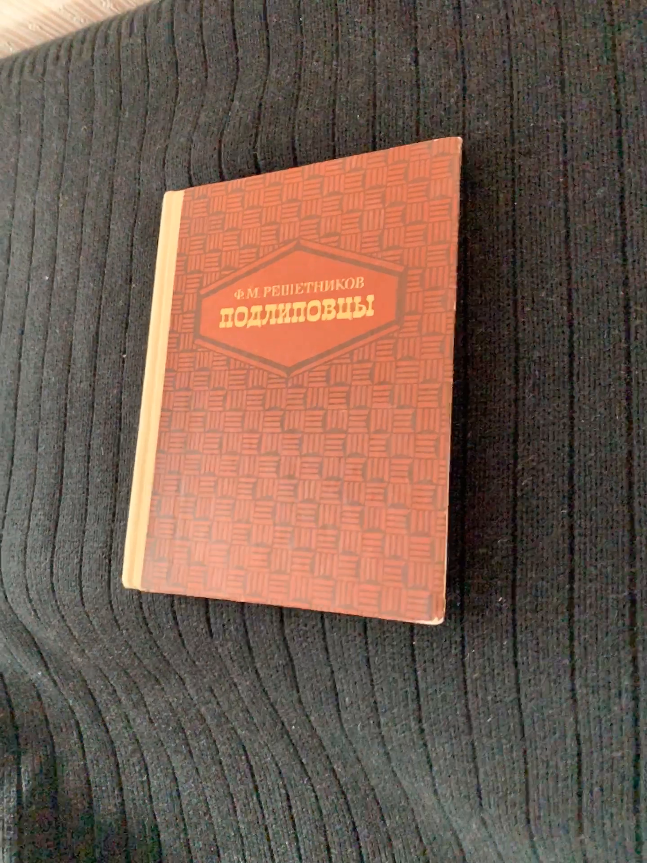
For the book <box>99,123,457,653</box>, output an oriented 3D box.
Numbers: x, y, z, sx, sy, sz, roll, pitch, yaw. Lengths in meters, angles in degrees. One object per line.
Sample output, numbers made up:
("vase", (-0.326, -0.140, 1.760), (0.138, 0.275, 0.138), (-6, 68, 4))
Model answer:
("book", (-0.018, -0.018, 0.250), (0.129, 0.015, 0.177), (-2, 78, 25))
